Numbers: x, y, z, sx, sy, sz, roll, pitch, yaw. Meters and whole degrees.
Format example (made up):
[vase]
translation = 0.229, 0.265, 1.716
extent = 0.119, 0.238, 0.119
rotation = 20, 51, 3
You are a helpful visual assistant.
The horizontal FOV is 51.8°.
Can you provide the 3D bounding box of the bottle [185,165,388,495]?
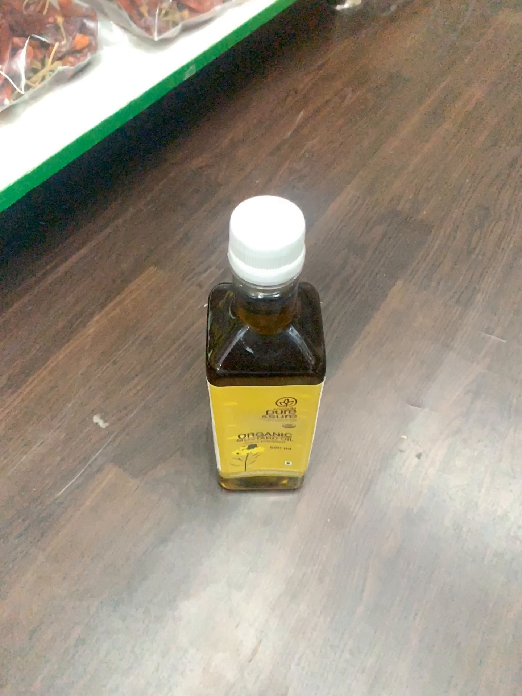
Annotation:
[bottle]
translation = 0.006, 0.011, 0.287
extent = 0.070, 0.209, 0.060
rotation = -1, 54, -2
